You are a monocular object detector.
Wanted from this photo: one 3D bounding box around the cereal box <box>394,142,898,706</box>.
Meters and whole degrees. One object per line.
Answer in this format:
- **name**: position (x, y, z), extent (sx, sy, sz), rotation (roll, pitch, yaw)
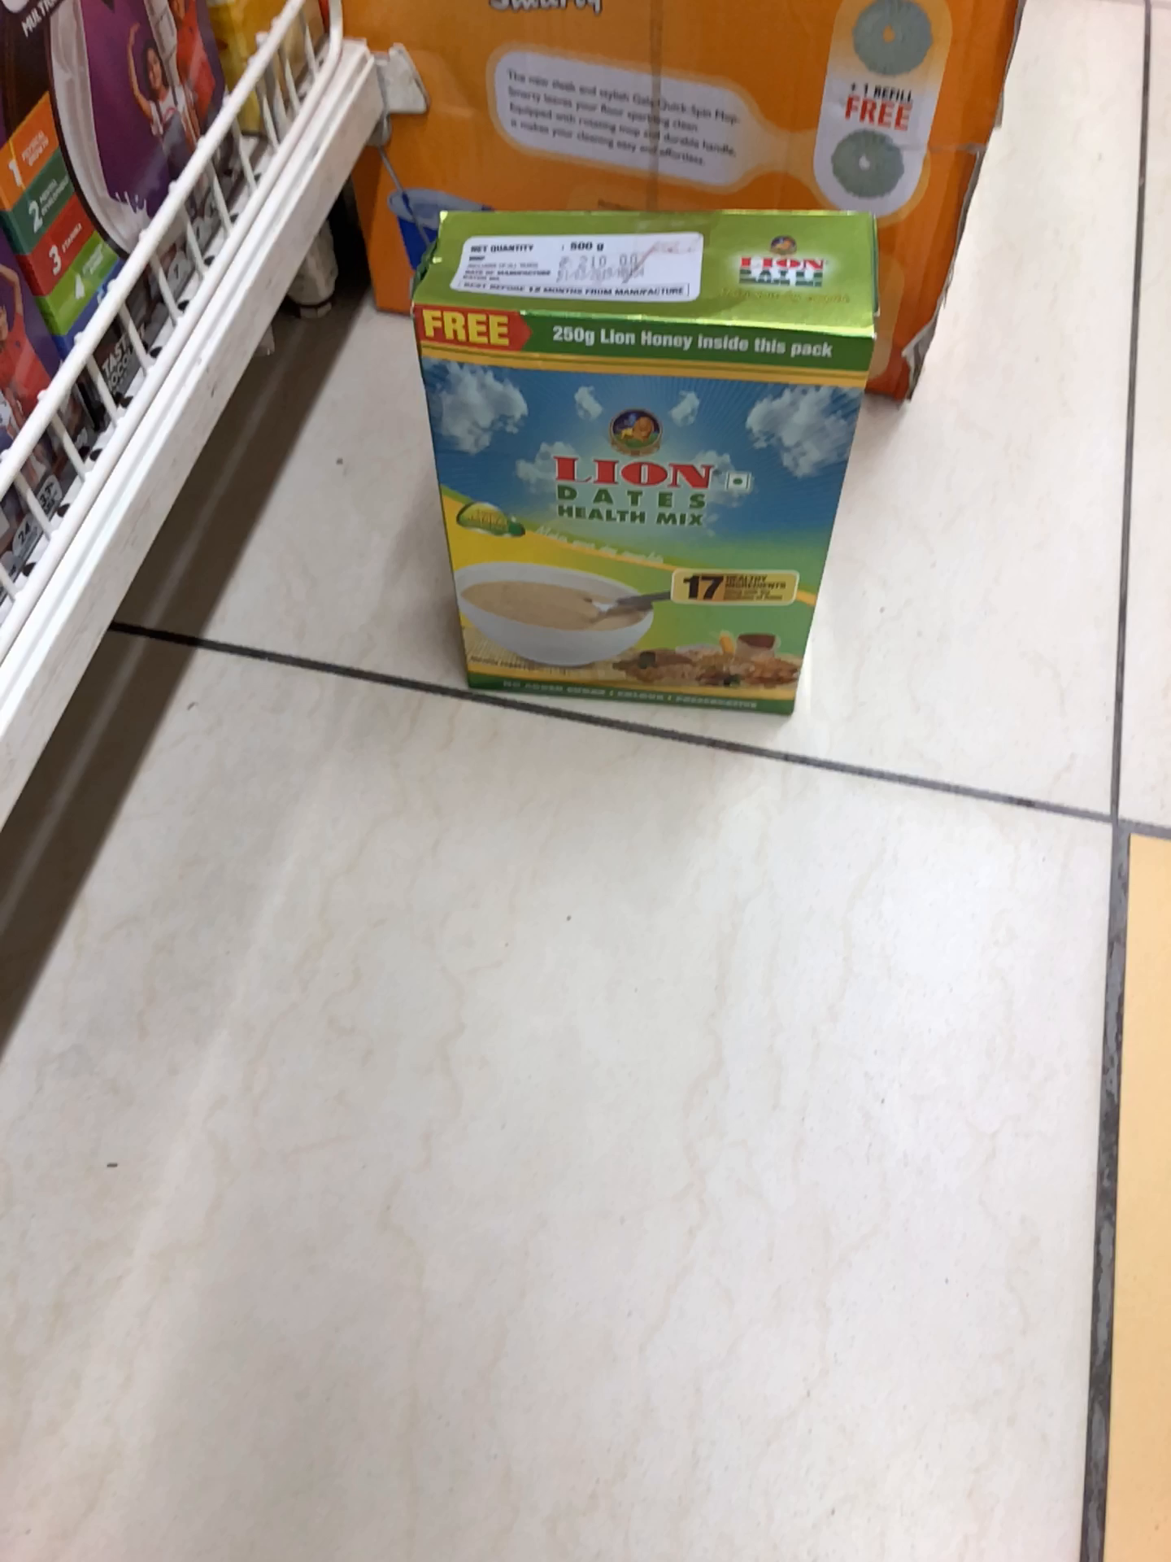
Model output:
- **cereal box**: position (0.022, -0.128, 0.527), extent (0.160, 0.229, 0.070), rotation (4, 60, 3)
